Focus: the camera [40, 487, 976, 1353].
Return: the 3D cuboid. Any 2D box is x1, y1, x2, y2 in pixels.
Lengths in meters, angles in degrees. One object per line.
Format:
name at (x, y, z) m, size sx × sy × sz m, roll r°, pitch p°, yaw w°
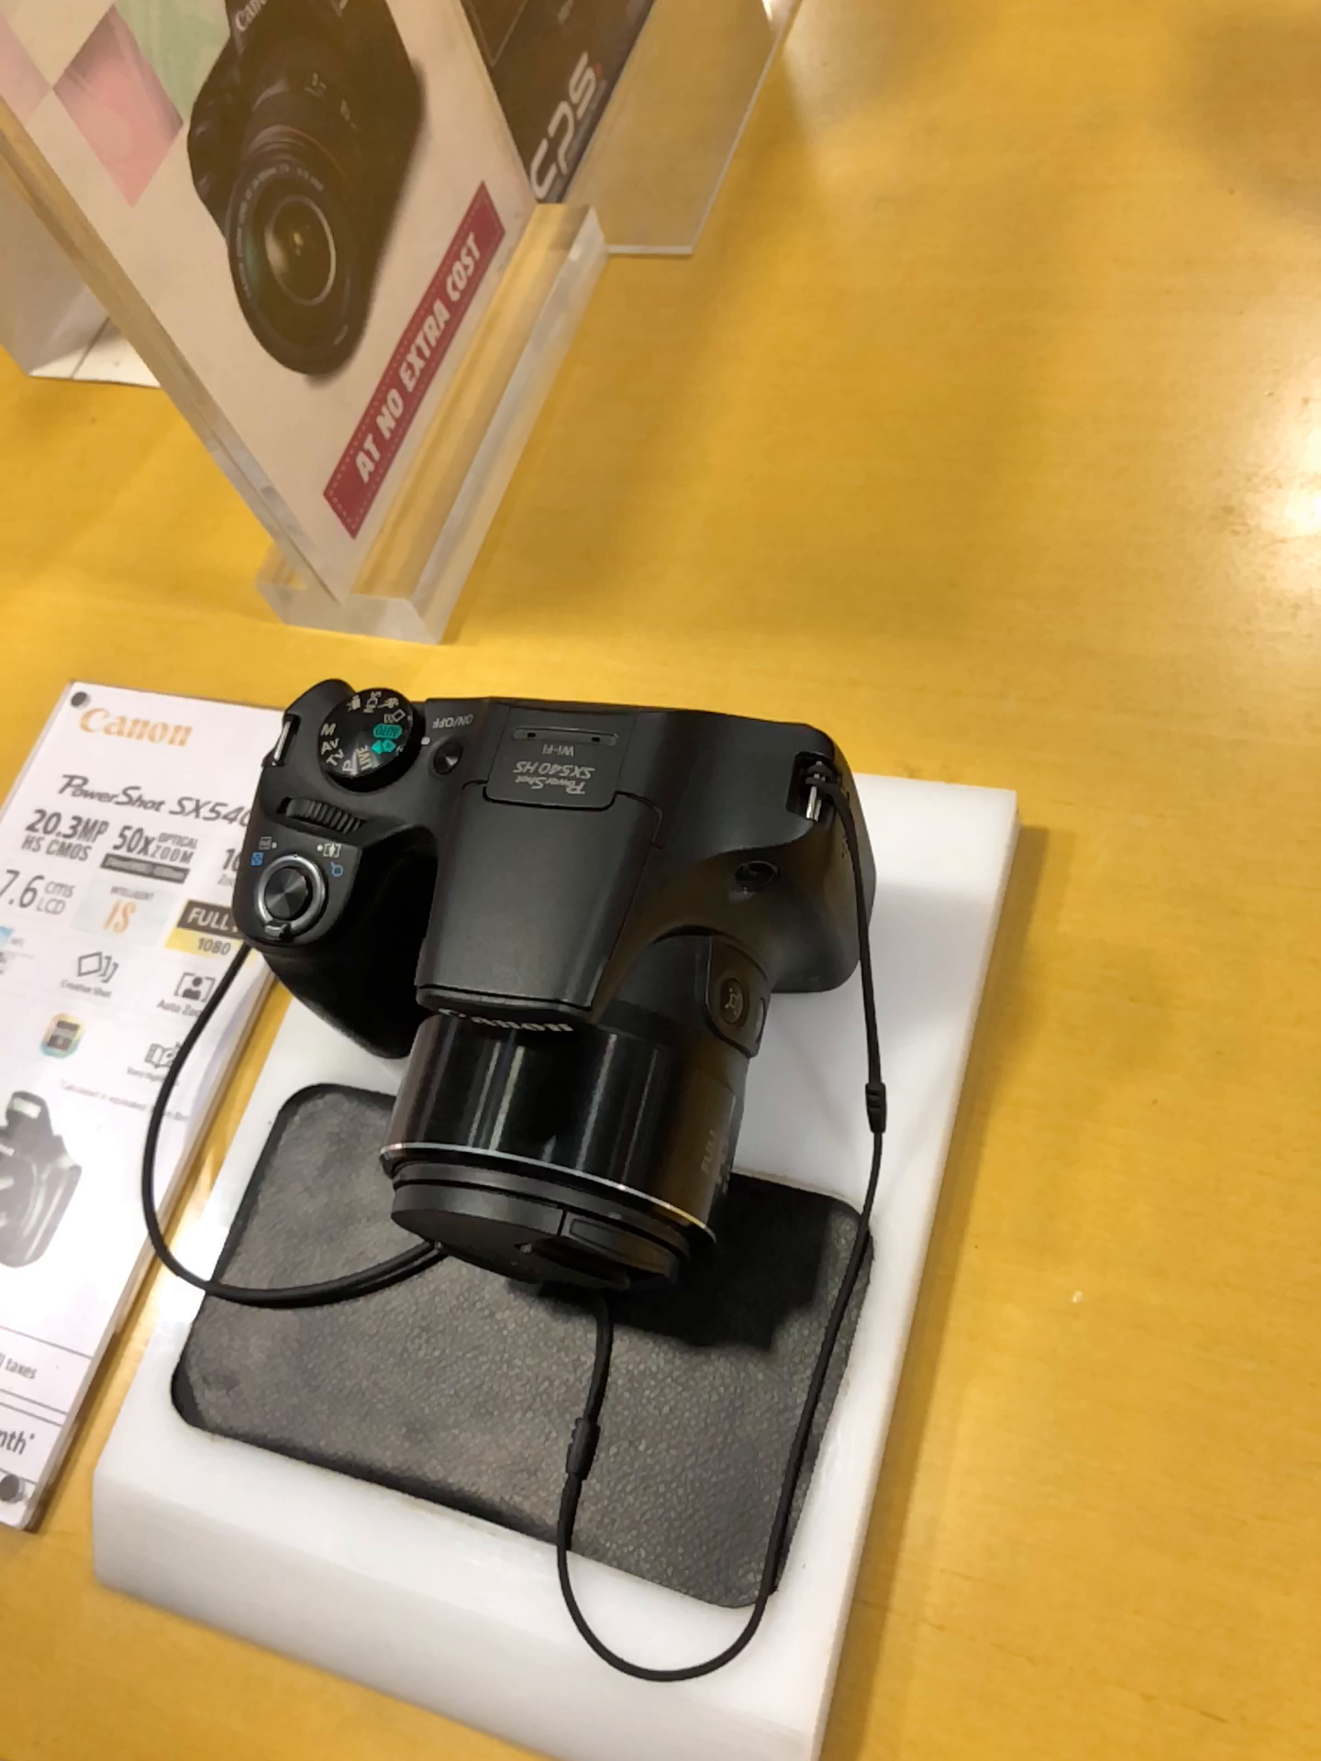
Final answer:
camera at (-0.016, 0.005, 0.288) m, size 0.130 × 0.090 × 0.130 m, roll 6°, pitch 65°, yaw 19°
